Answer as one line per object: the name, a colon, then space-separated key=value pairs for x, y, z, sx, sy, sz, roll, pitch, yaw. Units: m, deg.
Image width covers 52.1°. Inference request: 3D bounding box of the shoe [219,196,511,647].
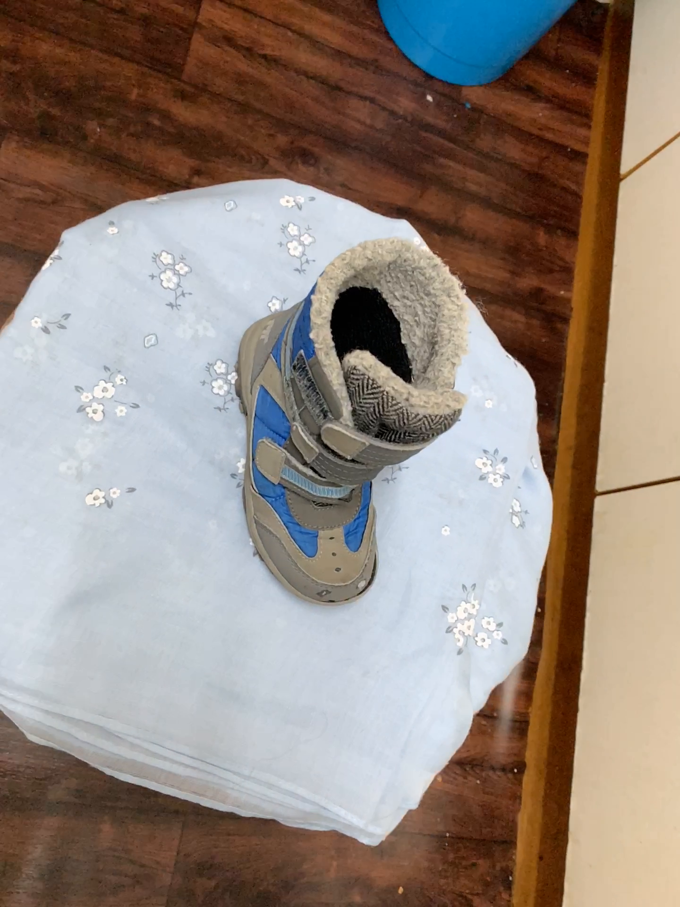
shoe: x=-0.002 y=-0.007 z=0.391 sx=0.090 sy=0.159 sz=0.200 roll=-3 pitch=81 yaw=-20
